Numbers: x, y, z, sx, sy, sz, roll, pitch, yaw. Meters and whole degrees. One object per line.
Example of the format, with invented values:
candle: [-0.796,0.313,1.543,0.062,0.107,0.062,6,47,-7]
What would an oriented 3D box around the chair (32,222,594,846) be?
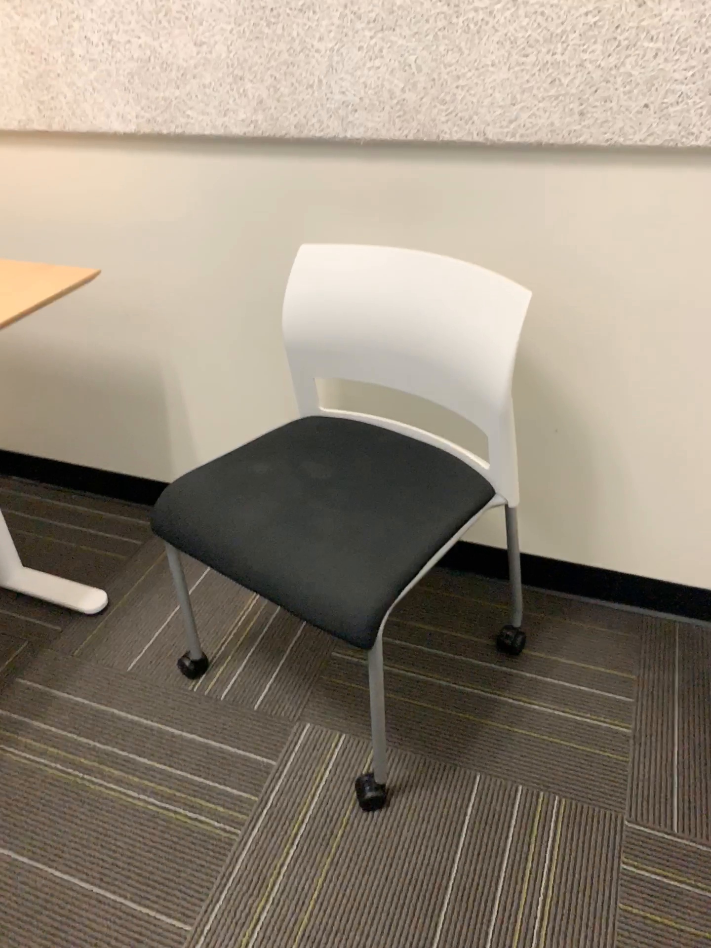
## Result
chair: [-0.029,0.049,1.347,0.622,0.775,0.622,20,40,30]
